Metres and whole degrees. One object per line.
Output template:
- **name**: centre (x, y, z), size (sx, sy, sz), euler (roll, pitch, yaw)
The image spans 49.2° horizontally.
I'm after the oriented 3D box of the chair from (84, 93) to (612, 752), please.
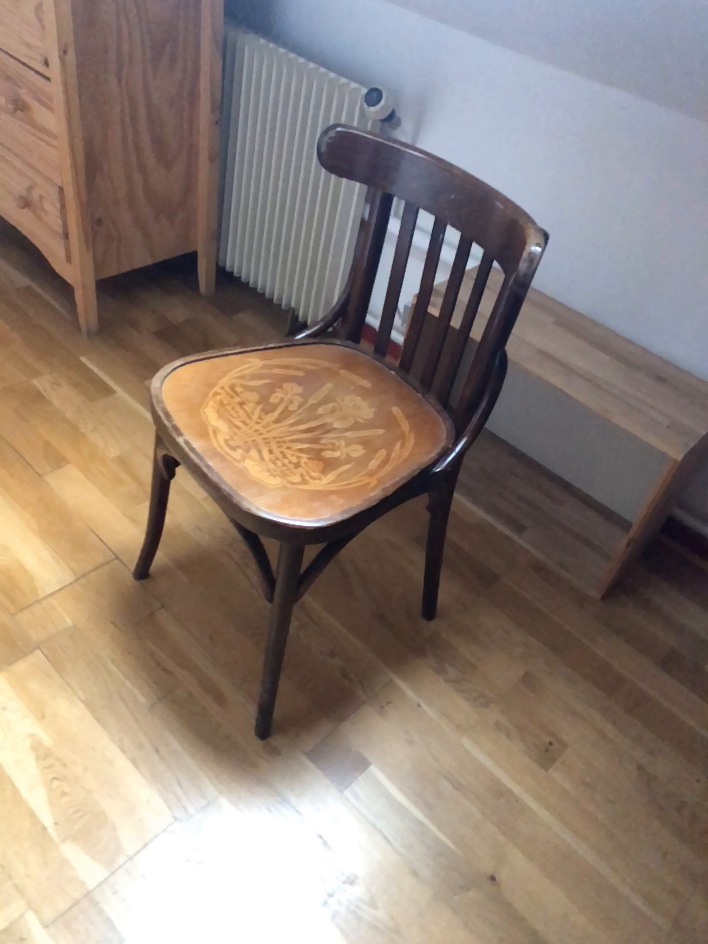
- **chair**: centre (-0.067, -0.065, 1.109), size (0.414, 0.737, 0.442), euler (-24, 53, -35)
